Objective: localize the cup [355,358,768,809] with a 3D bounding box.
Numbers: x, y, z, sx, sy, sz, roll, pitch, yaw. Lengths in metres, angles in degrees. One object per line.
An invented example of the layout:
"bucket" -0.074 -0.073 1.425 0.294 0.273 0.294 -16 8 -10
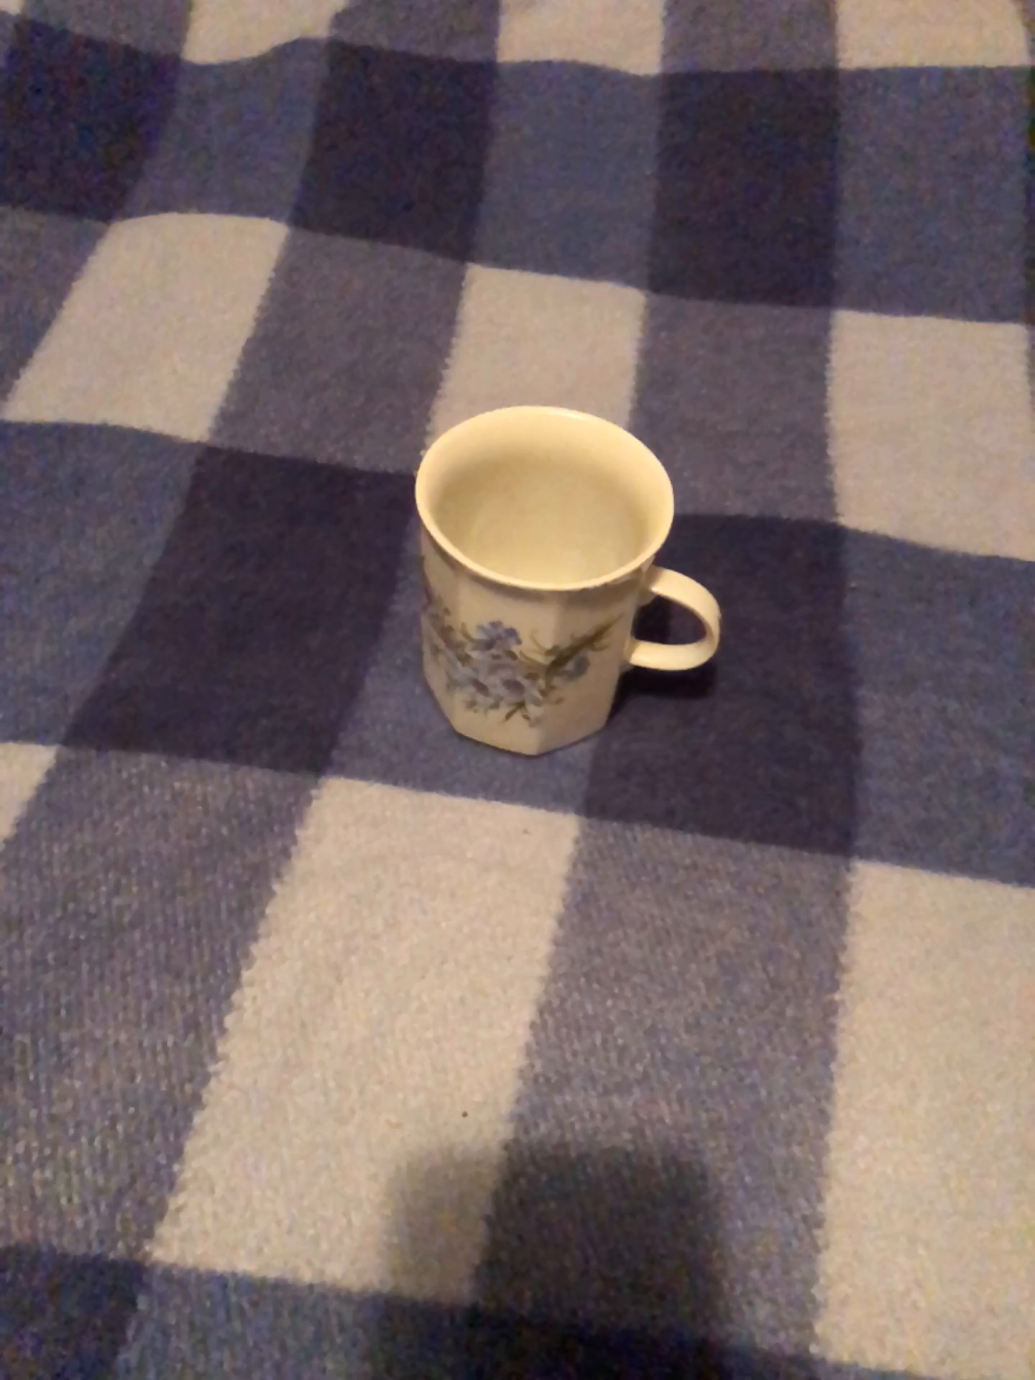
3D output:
"cup" 0.014 -0.033 0.368 0.098 0.094 0.077 19 56 12
